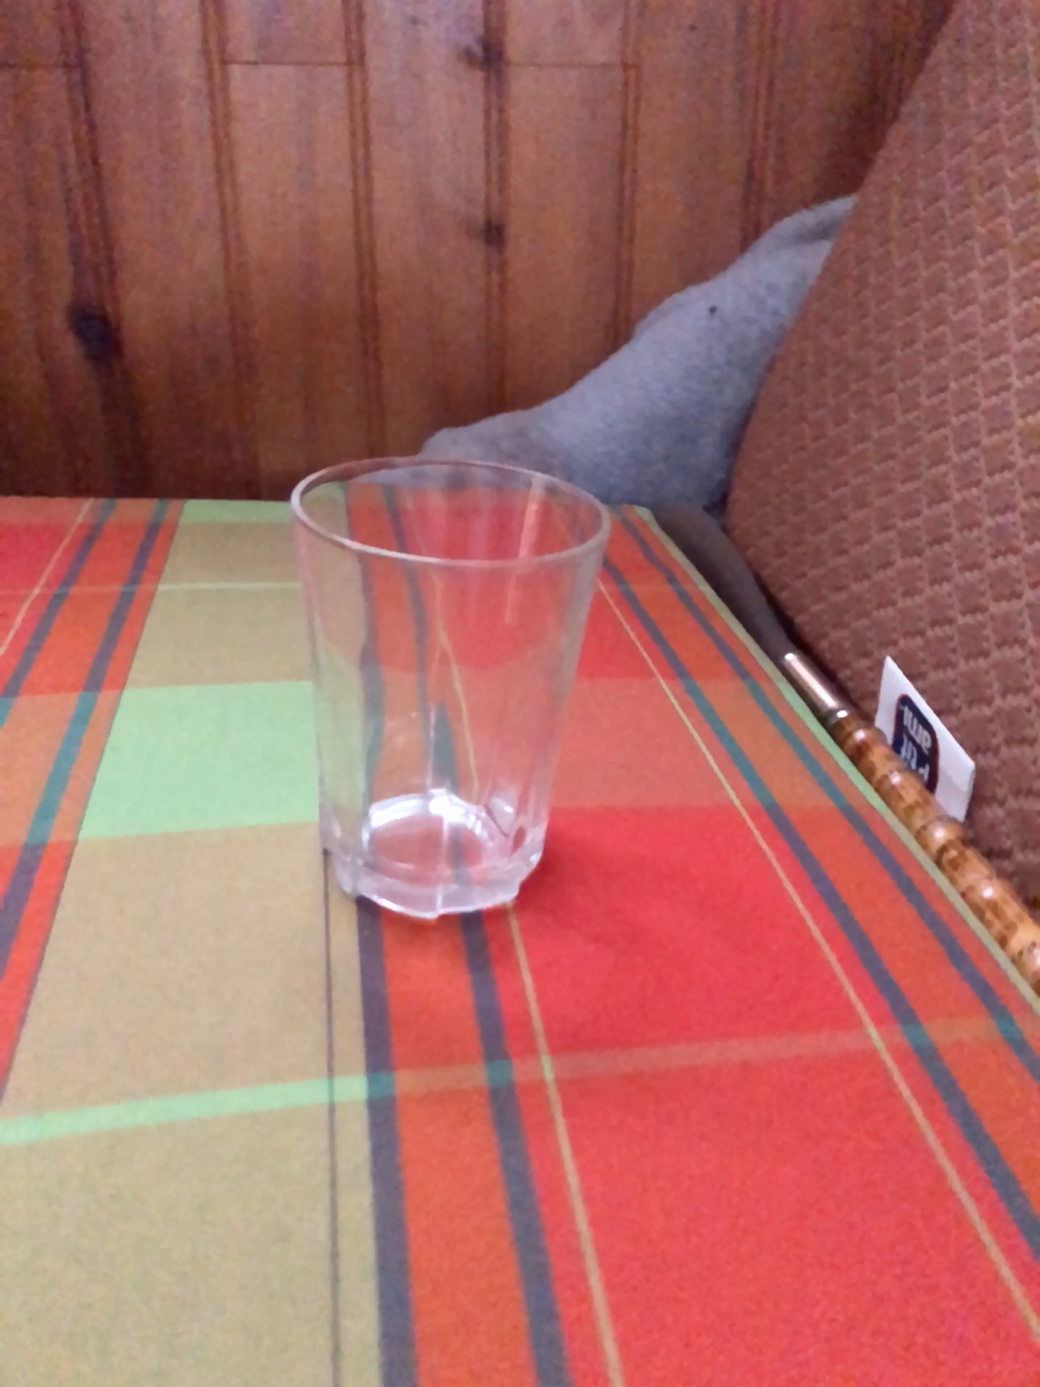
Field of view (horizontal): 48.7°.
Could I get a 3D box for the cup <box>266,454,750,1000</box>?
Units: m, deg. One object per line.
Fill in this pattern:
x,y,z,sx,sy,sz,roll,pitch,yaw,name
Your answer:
-0.007,0.002,0.245,0.070,0.079,0.070,3,29,-2,cup
